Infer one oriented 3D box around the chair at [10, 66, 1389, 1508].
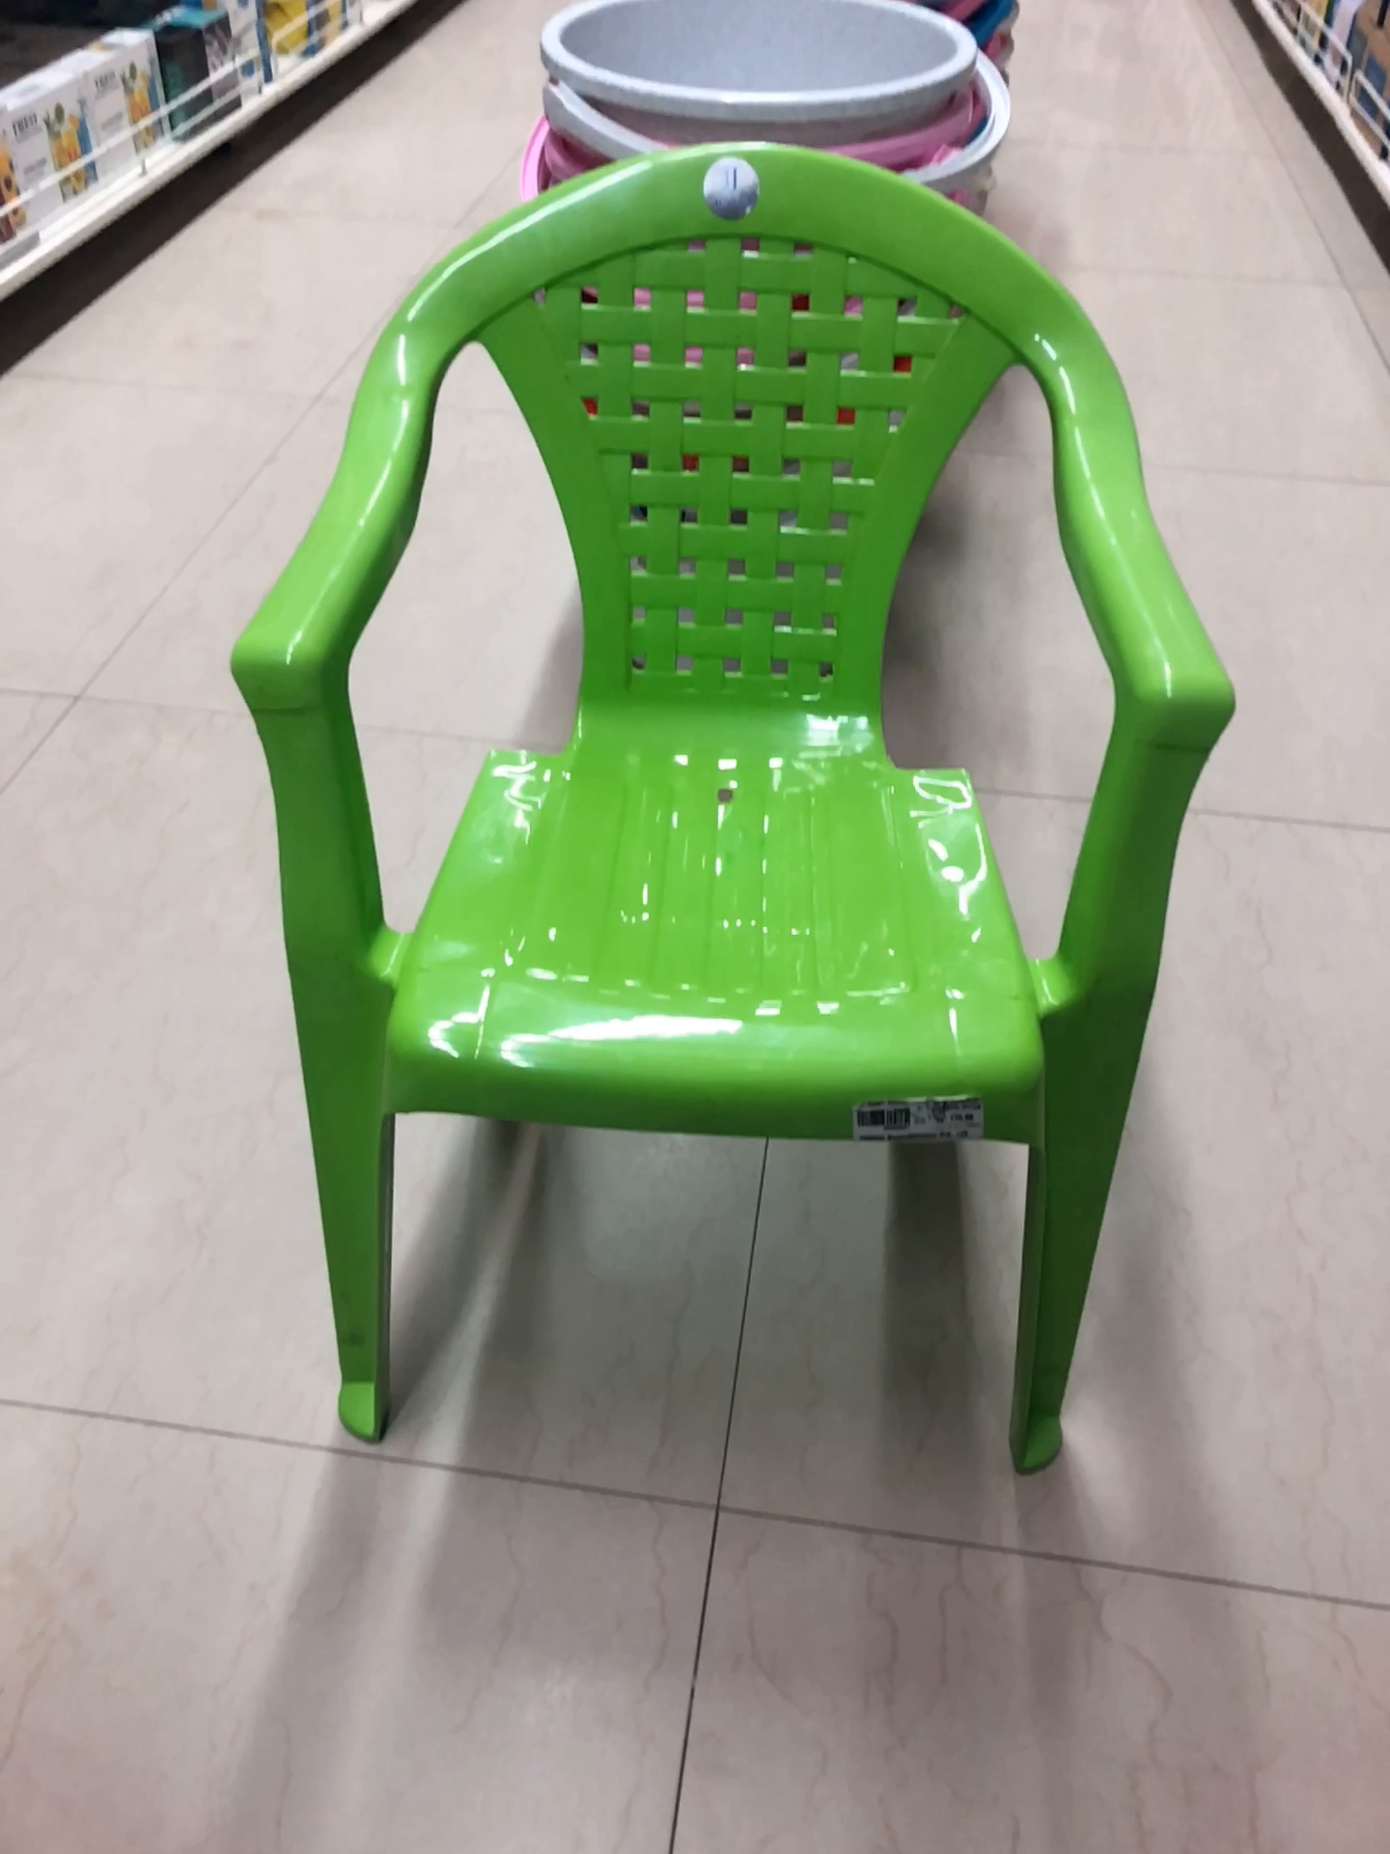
[{"bbox_3d":[0.016,-0.037,0.656,0.360,0.516,0.312,3,42,2],"label":"chair"}]
